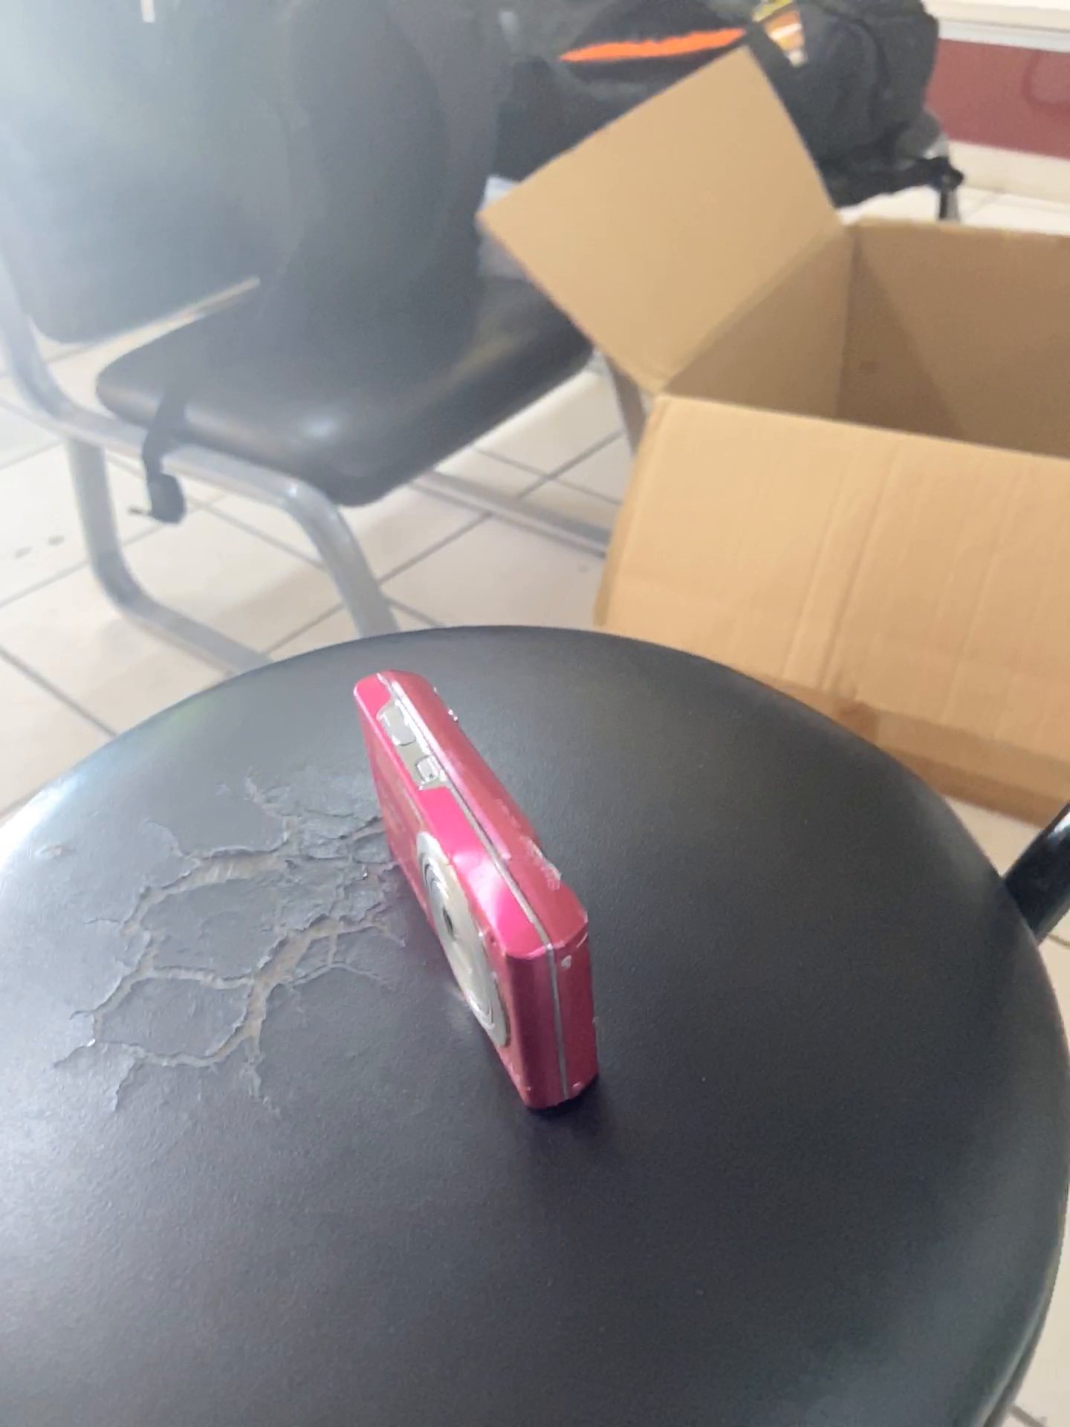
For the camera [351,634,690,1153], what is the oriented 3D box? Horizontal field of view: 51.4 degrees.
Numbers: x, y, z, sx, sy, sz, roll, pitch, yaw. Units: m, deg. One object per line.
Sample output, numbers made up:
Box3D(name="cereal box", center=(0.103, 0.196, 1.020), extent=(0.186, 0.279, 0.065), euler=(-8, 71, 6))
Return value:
Box3D(name="camera", center=(-0.006, 0.033, 0.238), extent=(0.030, 0.050, 0.100), euler=(-19, 40, -16))
